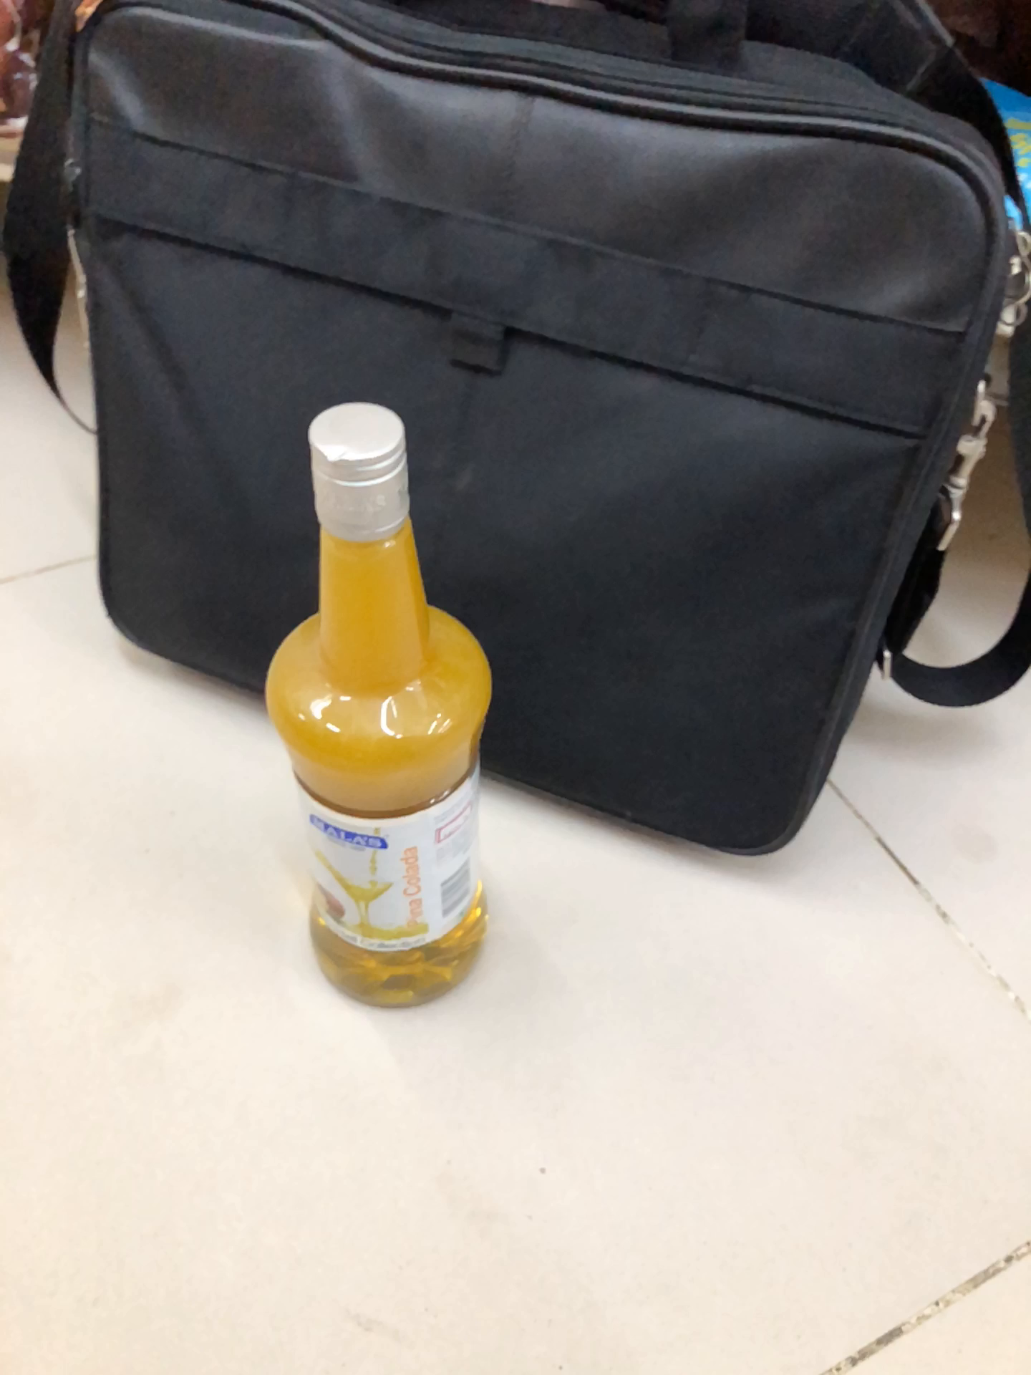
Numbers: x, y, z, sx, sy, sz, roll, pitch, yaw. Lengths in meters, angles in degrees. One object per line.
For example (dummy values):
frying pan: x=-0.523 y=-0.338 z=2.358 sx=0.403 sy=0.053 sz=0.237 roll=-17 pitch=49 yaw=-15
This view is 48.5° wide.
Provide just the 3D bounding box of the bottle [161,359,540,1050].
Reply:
bottle: x=-0.051 y=0.028 z=0.449 sx=0.090 sy=0.288 sz=0.081 roll=13 pitch=47 yaw=9
